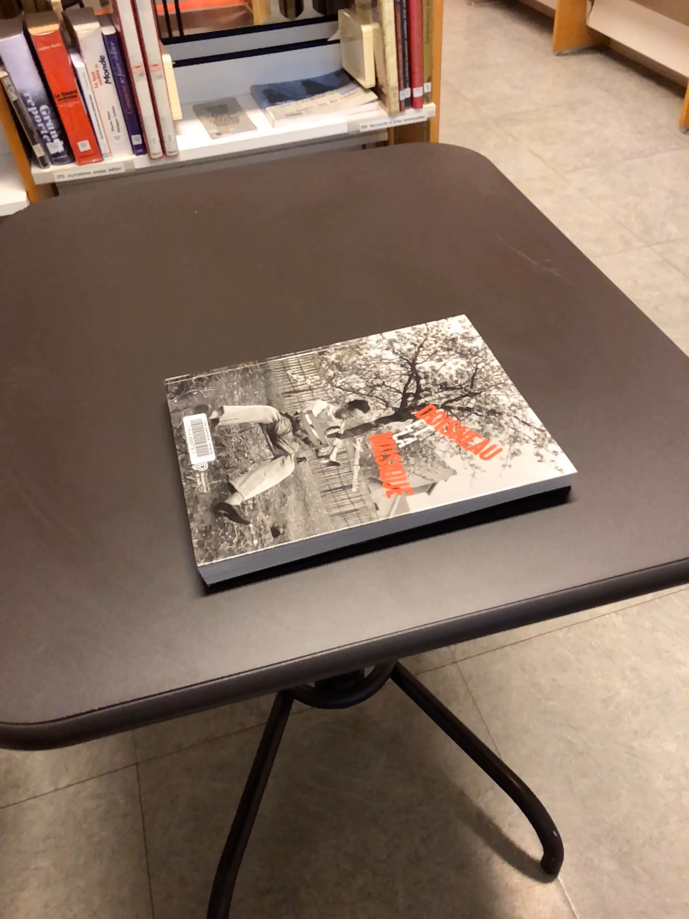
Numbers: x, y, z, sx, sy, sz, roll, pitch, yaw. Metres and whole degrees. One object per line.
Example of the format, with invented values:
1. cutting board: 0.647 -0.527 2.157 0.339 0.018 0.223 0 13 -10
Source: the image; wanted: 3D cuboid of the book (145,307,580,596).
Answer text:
1. book: 0.000 -0.021 0.524 0.250 0.030 0.195 -12 45 -11
